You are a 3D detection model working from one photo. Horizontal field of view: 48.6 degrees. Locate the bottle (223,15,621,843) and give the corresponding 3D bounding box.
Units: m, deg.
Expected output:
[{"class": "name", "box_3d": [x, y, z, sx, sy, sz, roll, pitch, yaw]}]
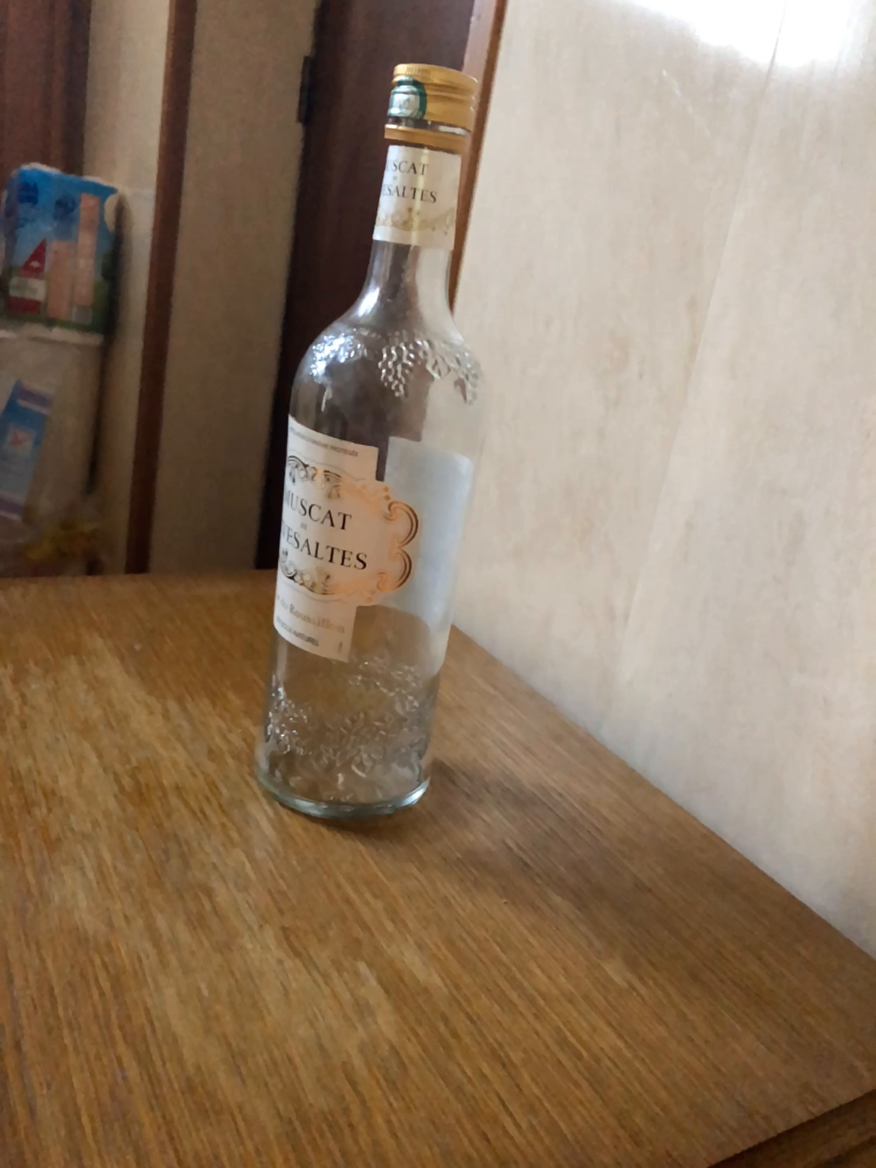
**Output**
[{"class": "bottle", "box_3d": [-0.016, -0.052, 0.386, 0.080, 0.289, 0.080, 9, 18, -3]}]
